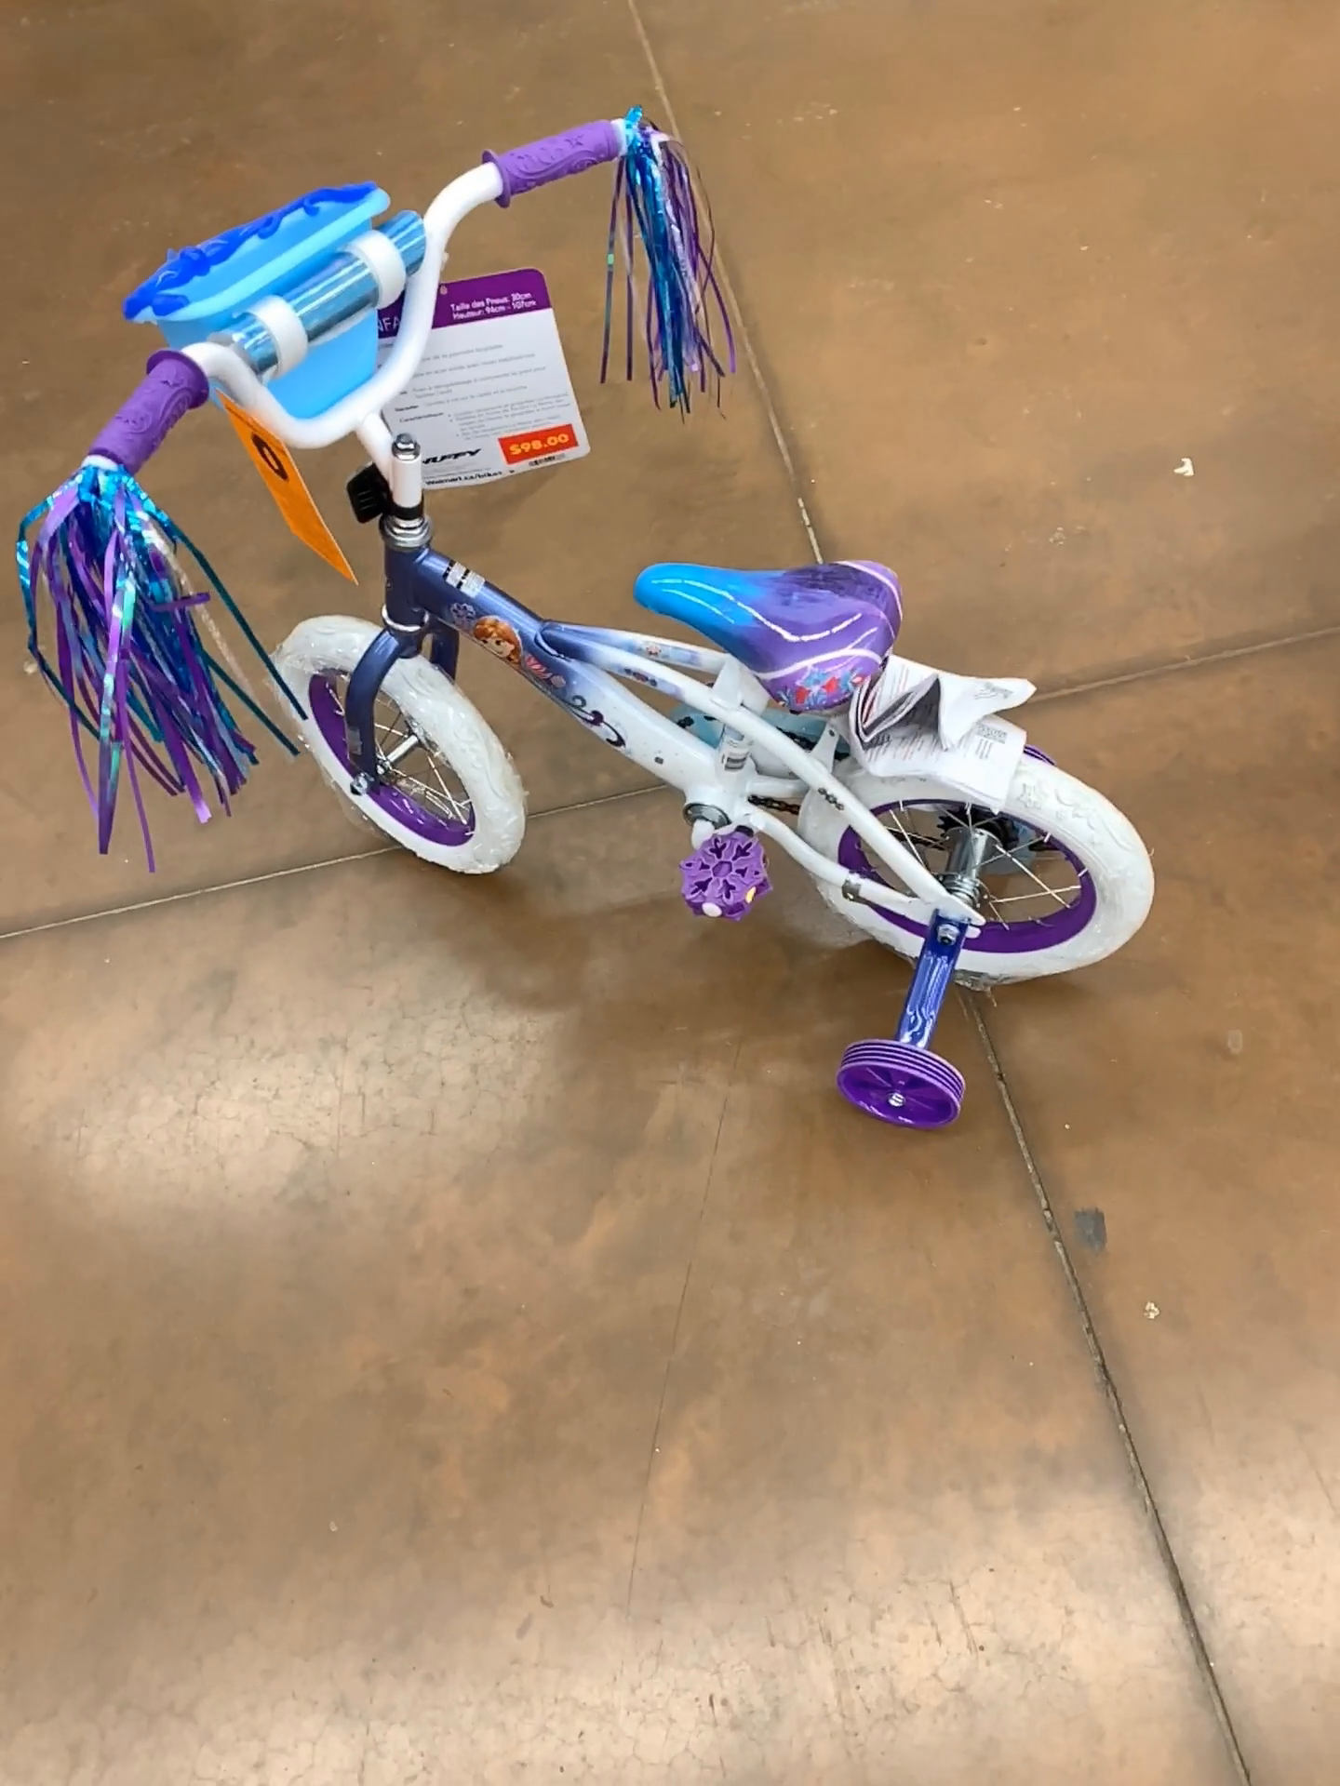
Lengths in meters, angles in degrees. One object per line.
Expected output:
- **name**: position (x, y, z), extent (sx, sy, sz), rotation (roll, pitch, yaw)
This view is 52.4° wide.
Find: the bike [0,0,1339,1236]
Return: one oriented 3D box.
- **bike**: position (-0.034, -0.185, 1.000), extent (0.805, 0.634, 0.440), rotation (16, 61, 16)
